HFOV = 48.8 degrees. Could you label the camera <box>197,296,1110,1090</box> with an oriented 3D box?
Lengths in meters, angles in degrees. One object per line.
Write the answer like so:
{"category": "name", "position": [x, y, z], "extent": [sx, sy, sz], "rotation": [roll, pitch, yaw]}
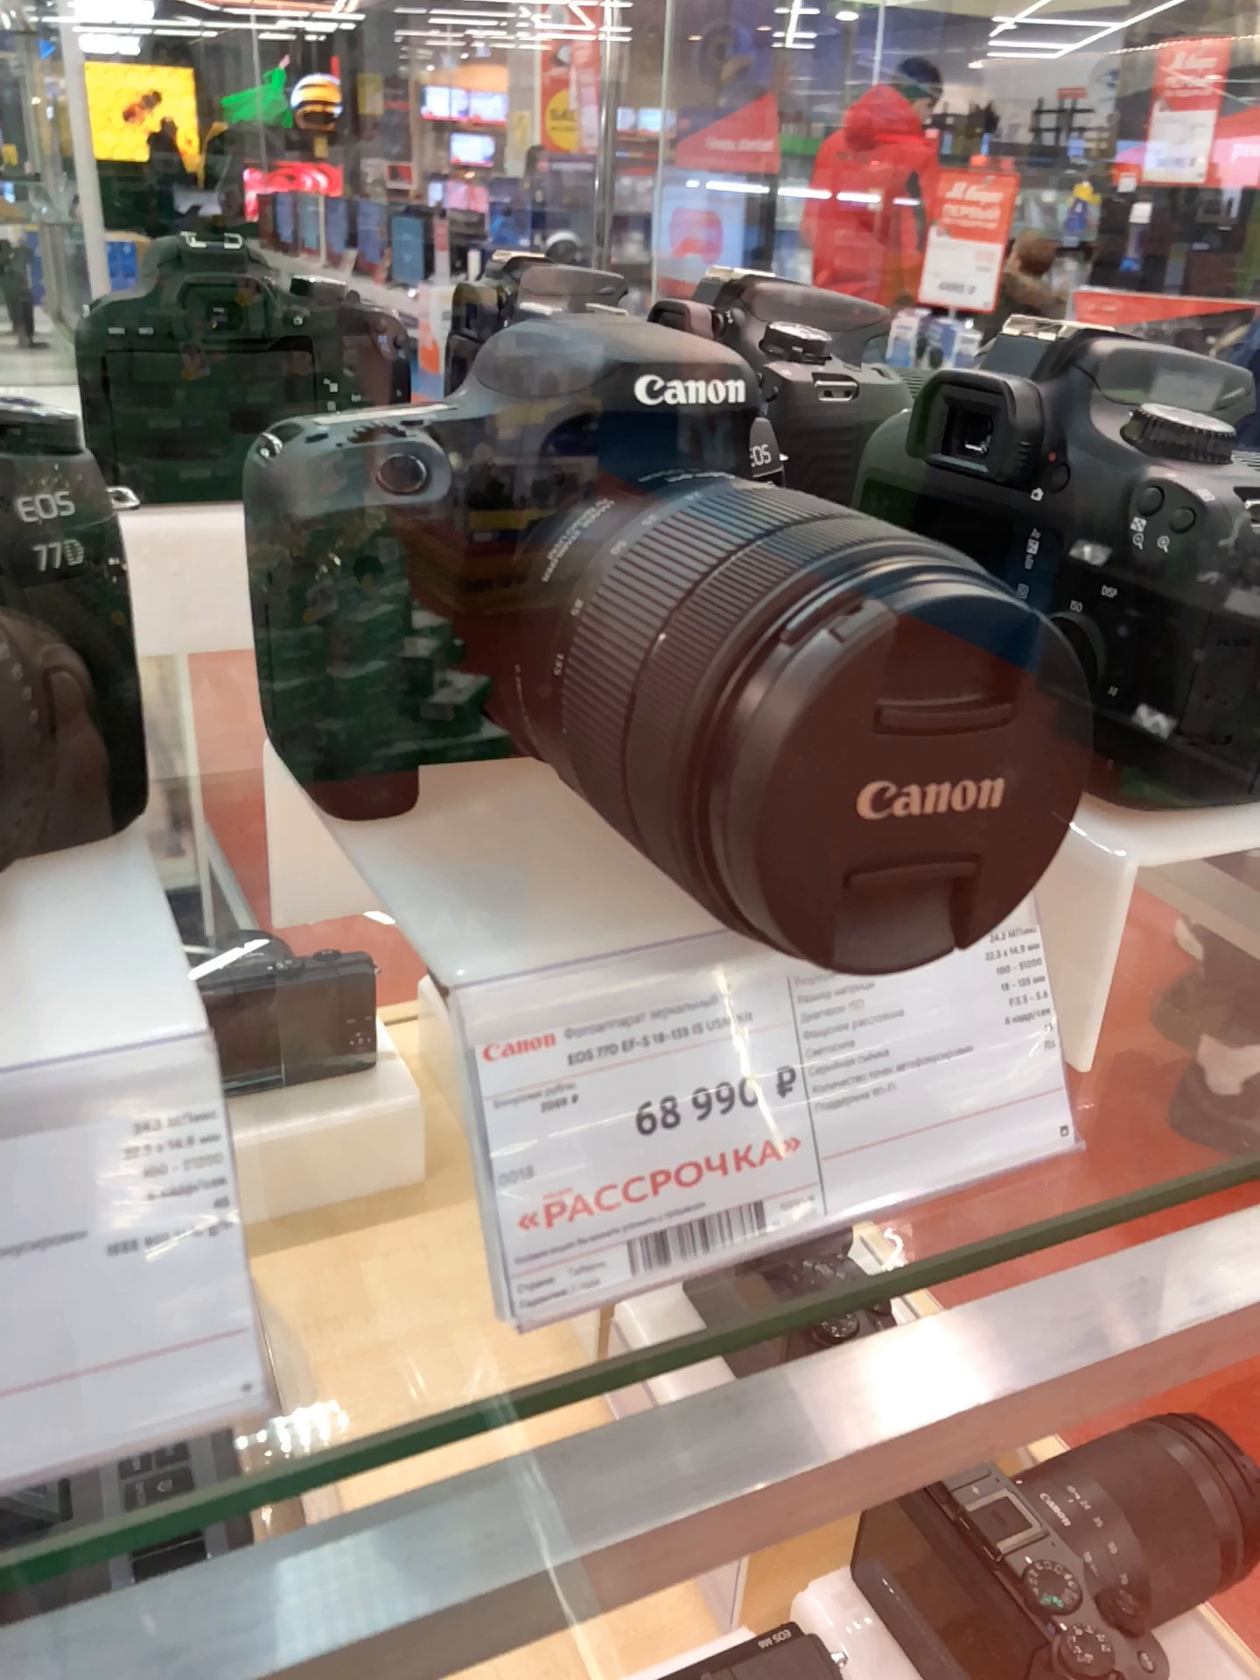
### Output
{"category": "camera", "position": [-0.011, -0.053, 0.319], "extent": [0.132, 0.119, 0.168], "rotation": [-10, 28, -25]}
